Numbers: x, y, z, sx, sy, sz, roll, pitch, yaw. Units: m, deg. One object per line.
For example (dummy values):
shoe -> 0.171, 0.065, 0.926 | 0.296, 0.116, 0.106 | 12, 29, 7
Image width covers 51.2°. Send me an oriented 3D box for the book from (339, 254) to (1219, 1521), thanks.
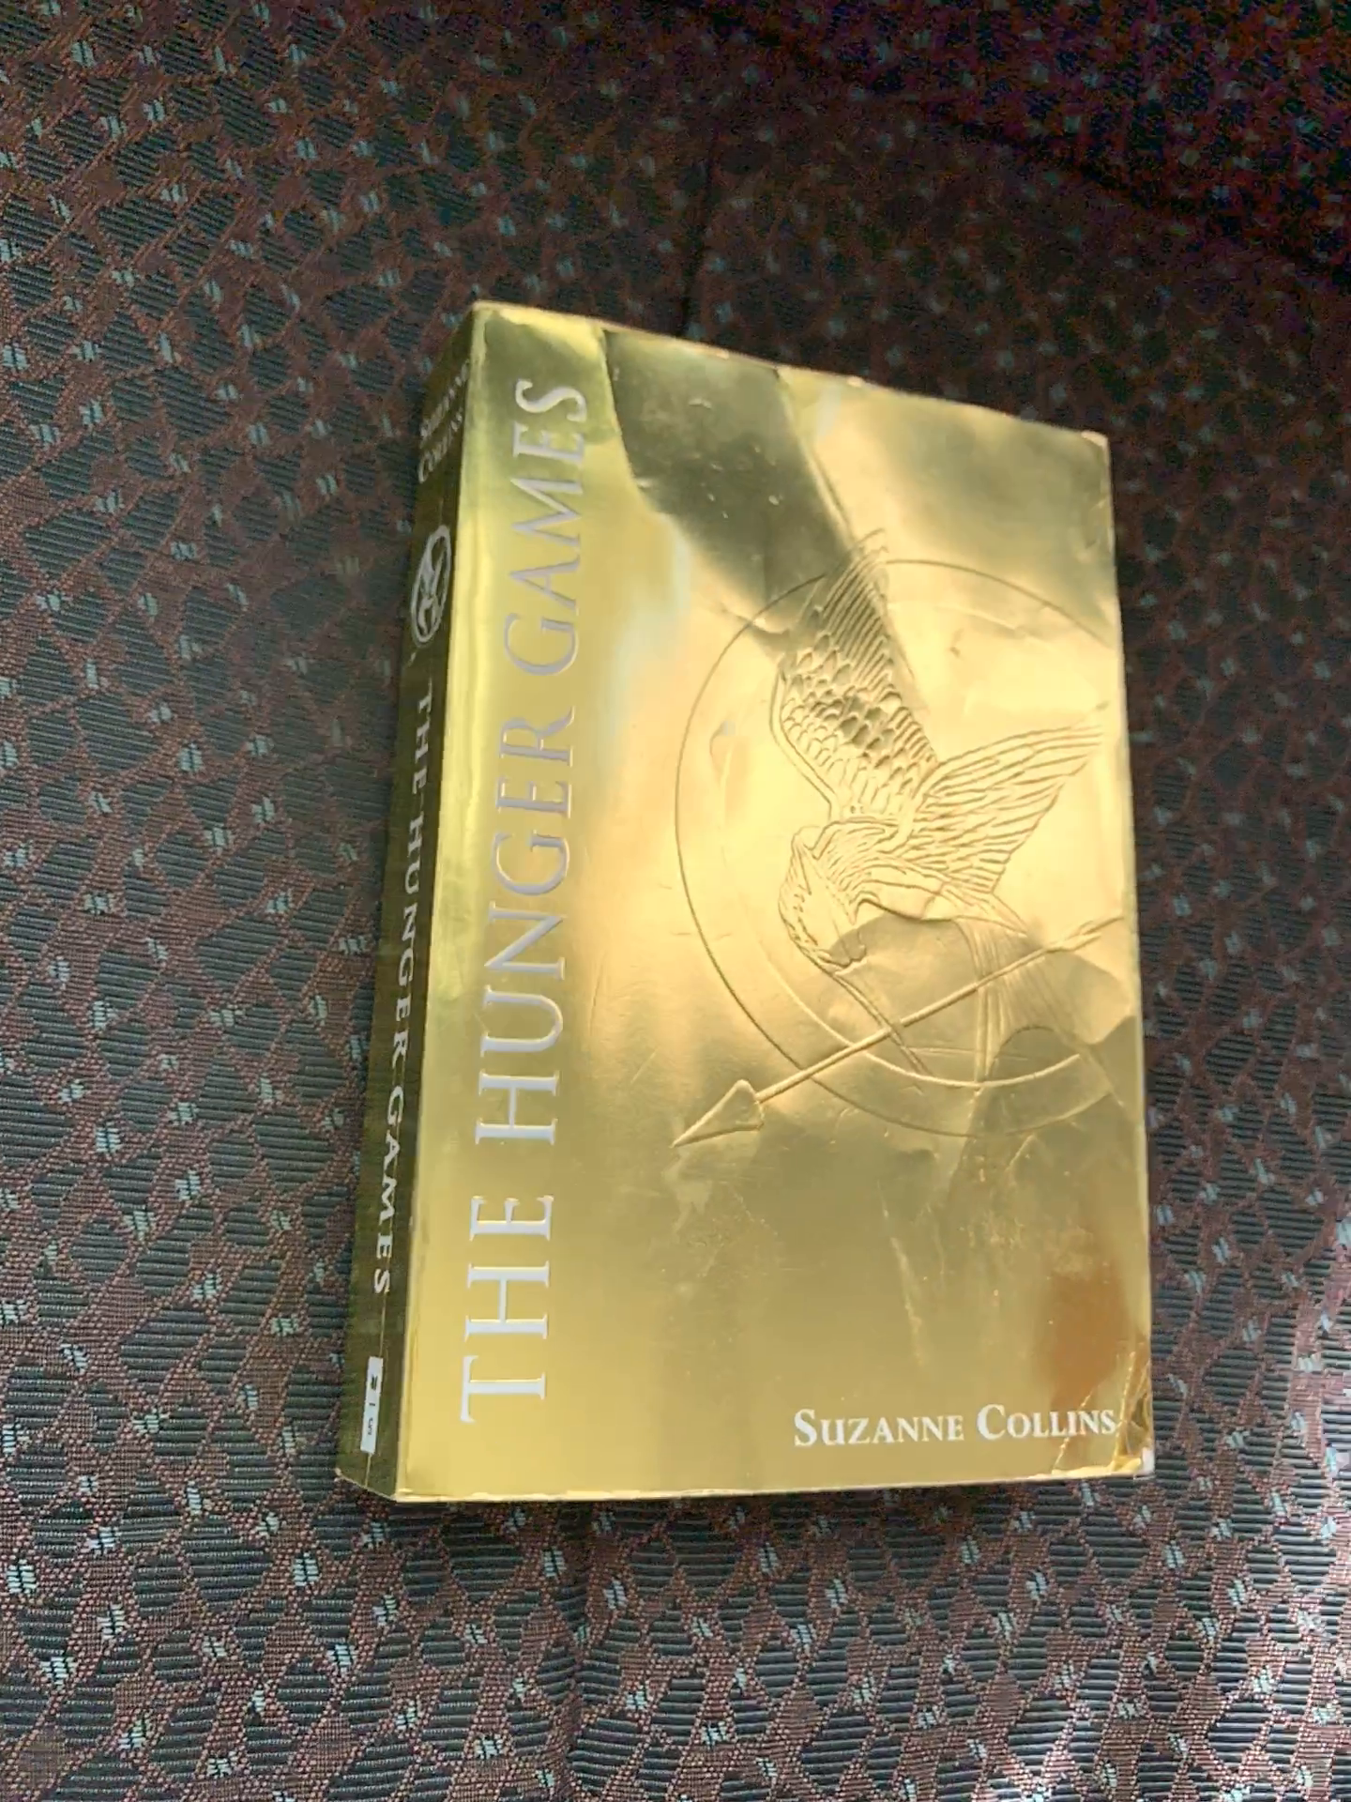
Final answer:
book -> 0.021, -0.002, 0.257 | 0.142, 0.037, 0.200 | 6, 75, -19
